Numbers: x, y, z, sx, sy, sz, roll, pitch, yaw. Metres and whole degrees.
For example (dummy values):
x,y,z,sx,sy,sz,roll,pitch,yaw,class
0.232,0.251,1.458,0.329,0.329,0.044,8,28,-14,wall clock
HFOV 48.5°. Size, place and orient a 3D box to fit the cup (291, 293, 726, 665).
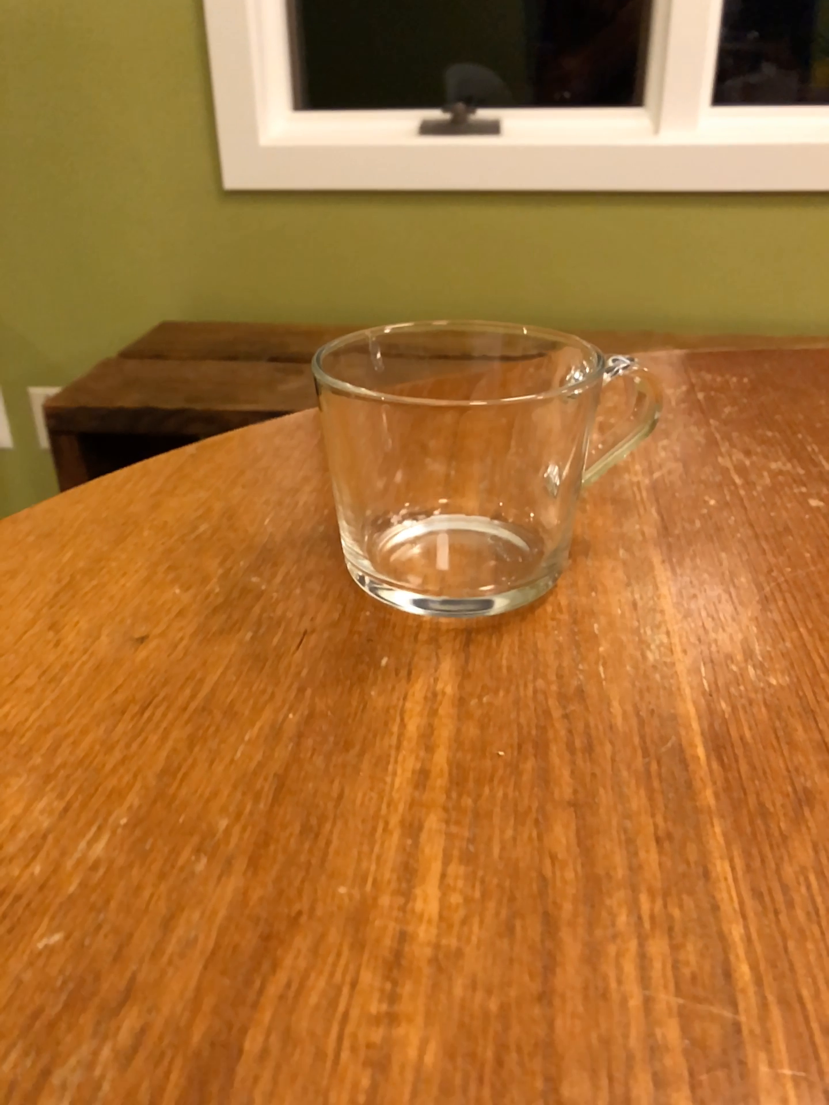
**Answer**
x,y,z,sx,sy,sz,roll,pitch,yaw,class
0.027,-0.035,0.340,0.120,0.089,0.101,-10,29,-16,cup
